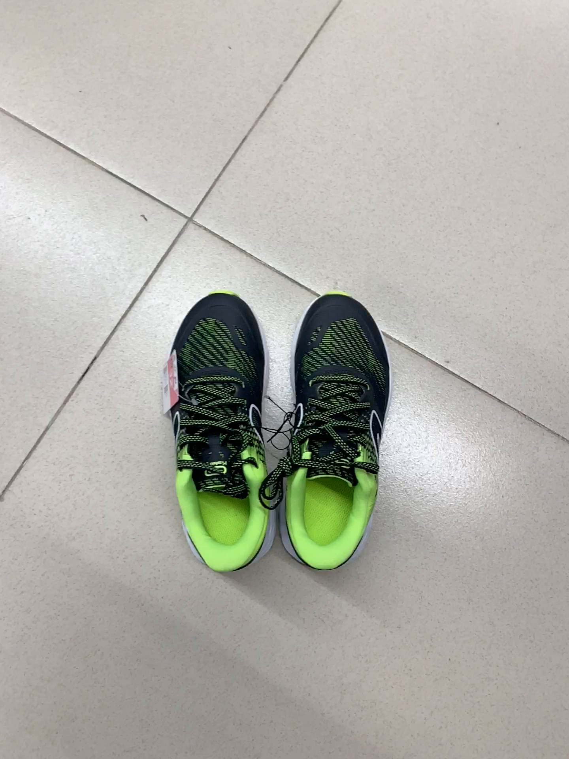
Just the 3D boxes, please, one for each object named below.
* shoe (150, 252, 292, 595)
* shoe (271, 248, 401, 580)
[{"bbox_3d":[-0.047,0.035,0.472,0.090,0.110,0.240,-4,81,0],"label":"shoe"},{"bbox_3d":[0.040,0.029,0.479,0.090,0.110,0.240,2,81,1],"label":"shoe"}]
